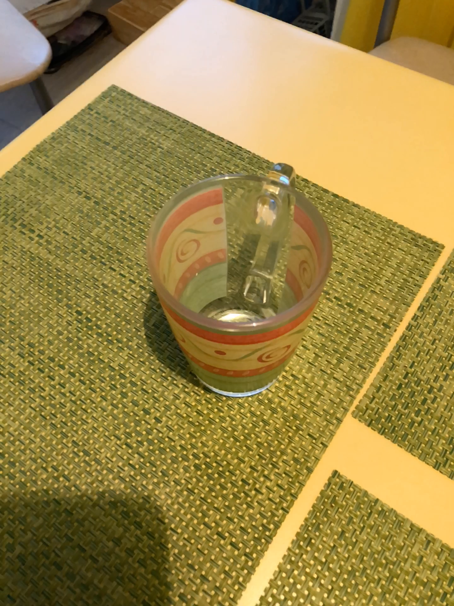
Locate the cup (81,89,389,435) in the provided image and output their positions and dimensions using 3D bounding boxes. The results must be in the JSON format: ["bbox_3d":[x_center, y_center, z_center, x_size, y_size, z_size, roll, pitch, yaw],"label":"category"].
[{"bbox_3d":[0.010,-0.019,0.247,0.090,0.090,0.121,19,63,12],"label":"cup"}]
